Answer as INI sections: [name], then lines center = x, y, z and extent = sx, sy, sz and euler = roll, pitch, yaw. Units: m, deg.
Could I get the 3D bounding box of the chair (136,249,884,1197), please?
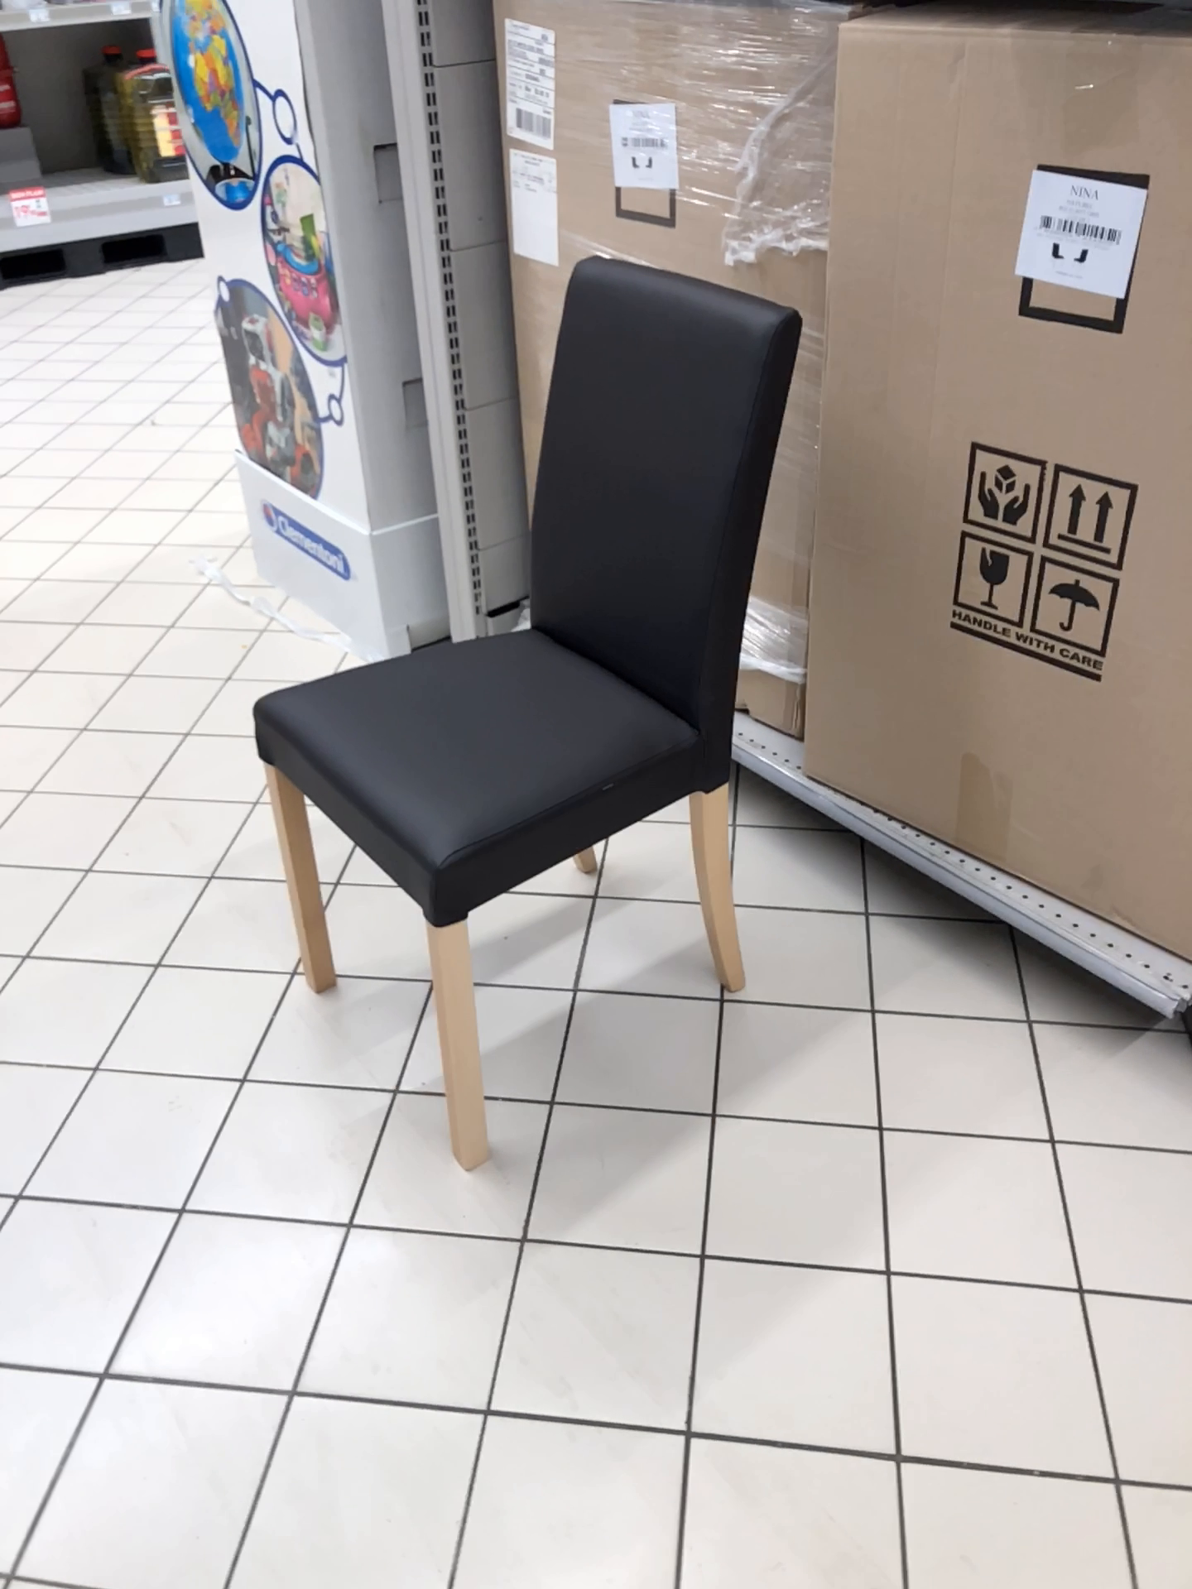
[chair]
center = -0.071, -0.105, 1.535
extent = 0.593, 0.855, 0.451
euler = -26, 41, -30
